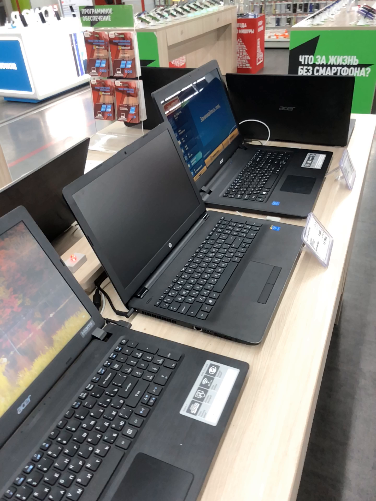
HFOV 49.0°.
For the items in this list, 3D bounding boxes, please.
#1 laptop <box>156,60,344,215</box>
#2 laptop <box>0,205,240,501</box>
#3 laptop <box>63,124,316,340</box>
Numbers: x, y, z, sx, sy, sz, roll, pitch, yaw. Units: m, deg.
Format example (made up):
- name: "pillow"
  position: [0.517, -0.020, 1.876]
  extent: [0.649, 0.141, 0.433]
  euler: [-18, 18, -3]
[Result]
- name: "laptop"
  position: [0.185, -0.343, 1.147]
  extent: [0.395, 0.267, 0.398]
  euler: [11, 38, 23]
- name: "laptop"
  position: [-0.146, 0.148, 0.503]
  extent: [0.350, 0.226, 0.361]
  euler: [10, 35, 22]
- name: "laptop"
  position: [0.035, -0.073, 0.819]
  extent: [0.334, 0.215, 0.378]
  euler: [12, 37, 21]
